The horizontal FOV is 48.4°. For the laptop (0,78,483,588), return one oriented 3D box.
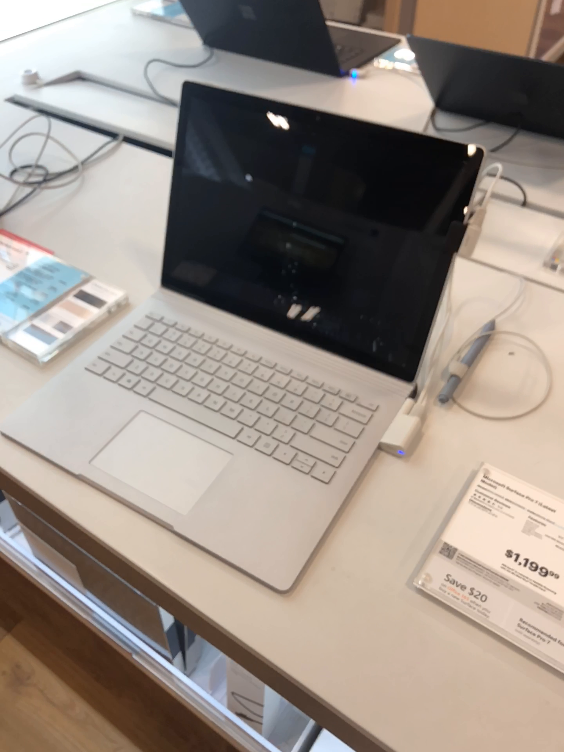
[{"bbox_3d":[-0.042,-0.069,0.527,0.291,0.191,0.312,23,50,22],"label":"laptop"}]
